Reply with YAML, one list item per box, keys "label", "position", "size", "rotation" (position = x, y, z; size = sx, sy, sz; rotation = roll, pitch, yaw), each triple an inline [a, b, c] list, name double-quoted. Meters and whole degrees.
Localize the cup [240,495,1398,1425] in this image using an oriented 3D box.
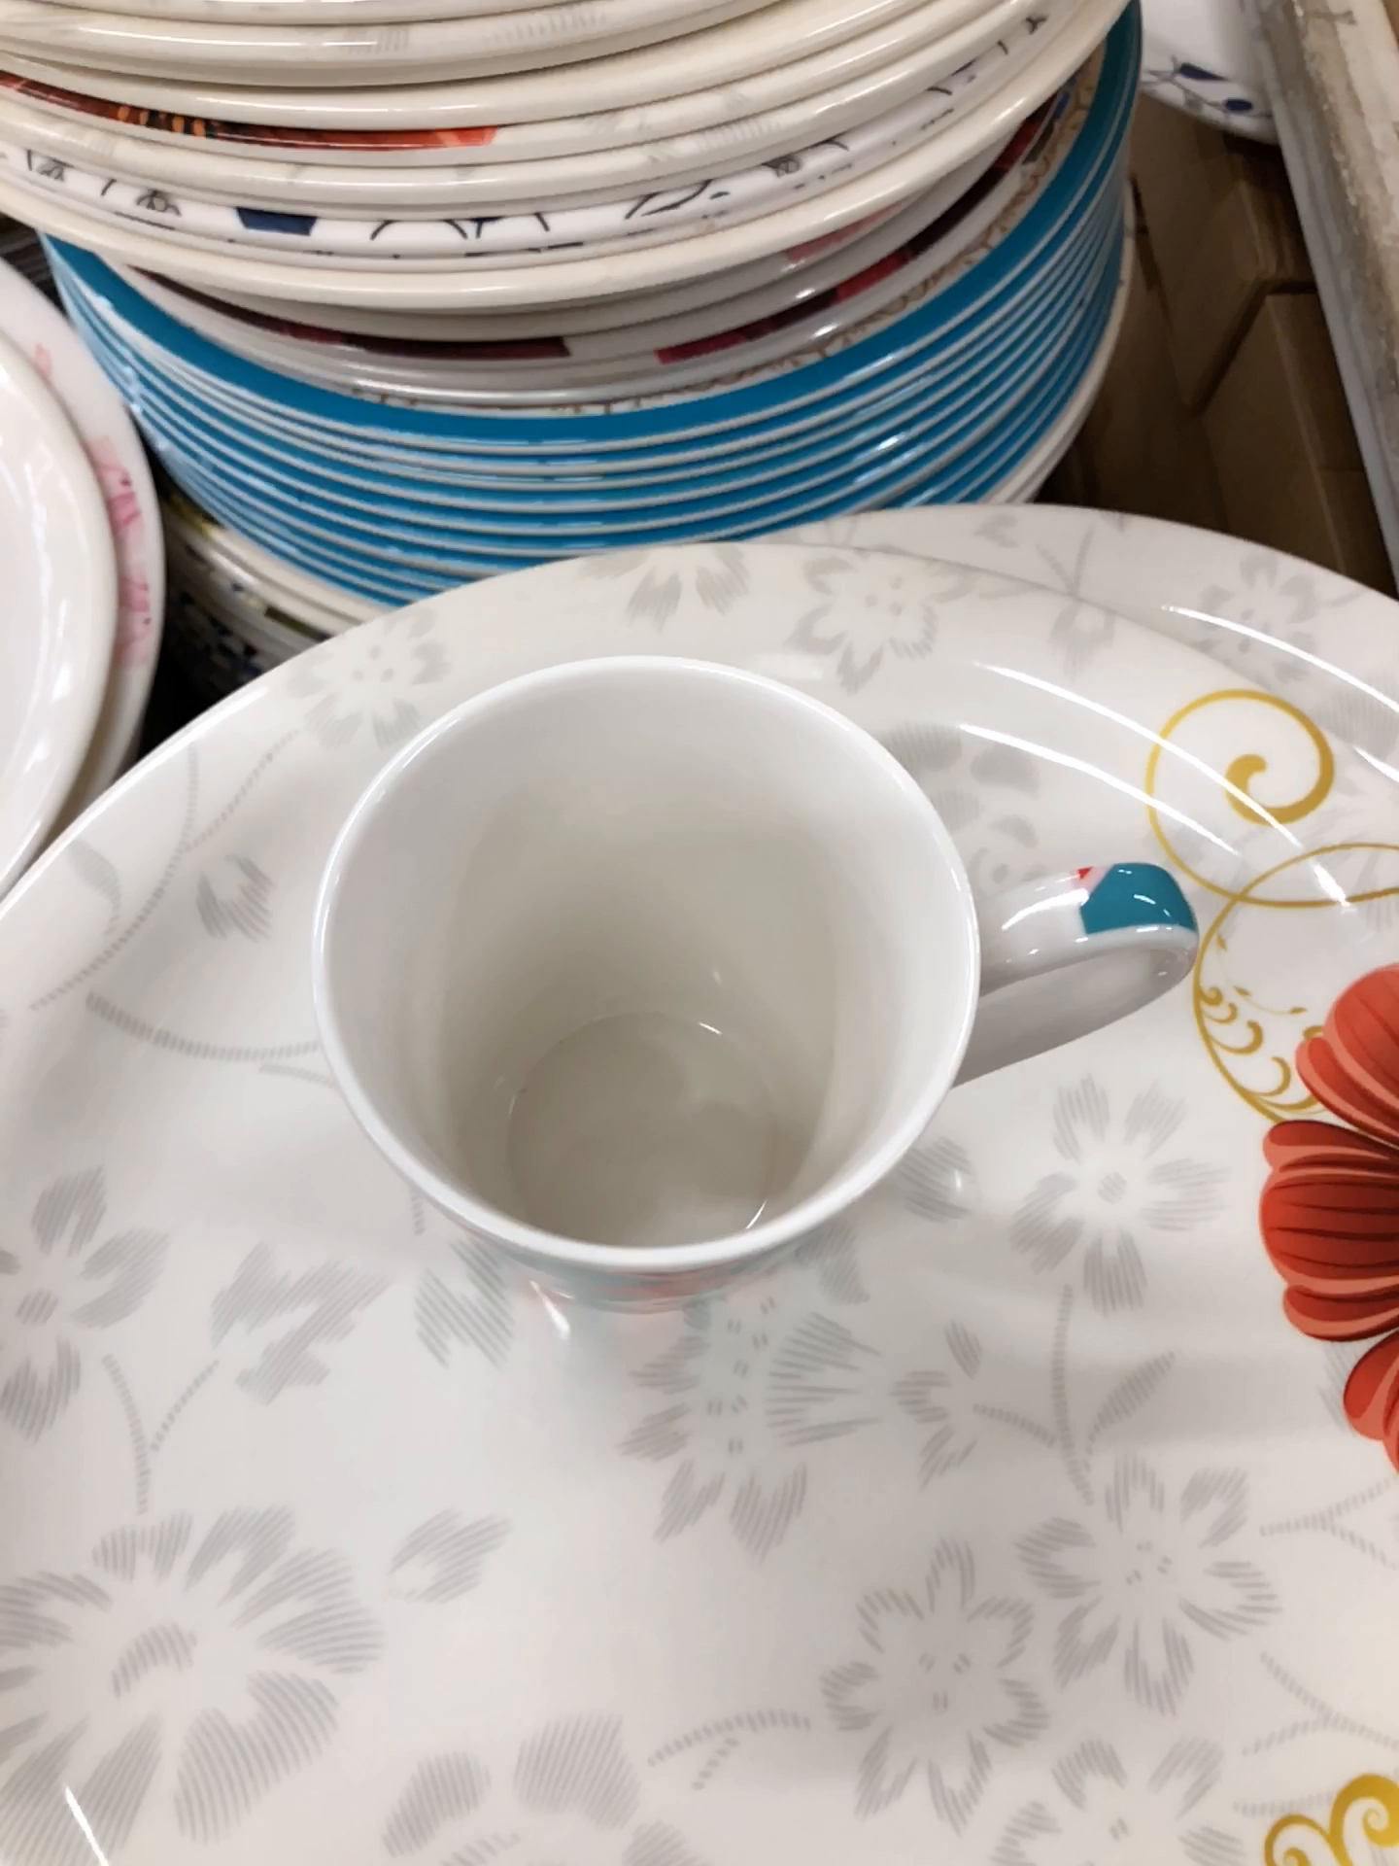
- label: "cup"
  position: [0.012, 0.010, 0.246]
  size: [0.130, 0.100, 0.080]
  rotation: [-18, 69, -11]
